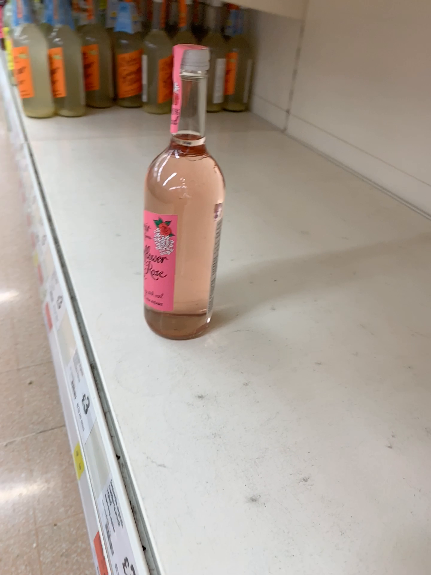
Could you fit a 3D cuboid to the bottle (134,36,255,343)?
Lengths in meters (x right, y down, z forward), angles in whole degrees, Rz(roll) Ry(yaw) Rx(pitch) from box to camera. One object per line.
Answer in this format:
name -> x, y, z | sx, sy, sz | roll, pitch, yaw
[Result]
bottle -> -0.032, -0.081, 0.435 | 0.086, 0.274, 0.087 | 4, 34, -3
